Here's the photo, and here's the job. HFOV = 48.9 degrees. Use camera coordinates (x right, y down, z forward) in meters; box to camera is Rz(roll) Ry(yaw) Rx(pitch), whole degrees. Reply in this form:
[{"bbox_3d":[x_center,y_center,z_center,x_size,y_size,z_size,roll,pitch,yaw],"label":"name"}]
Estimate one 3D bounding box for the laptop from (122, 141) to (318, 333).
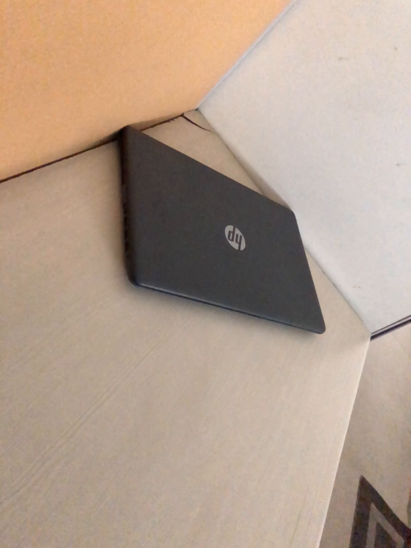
[{"bbox_3d":[0.033,-0.045,0.689,0.357,0.004,0.237,17,51,-38],"label":"laptop"}]
